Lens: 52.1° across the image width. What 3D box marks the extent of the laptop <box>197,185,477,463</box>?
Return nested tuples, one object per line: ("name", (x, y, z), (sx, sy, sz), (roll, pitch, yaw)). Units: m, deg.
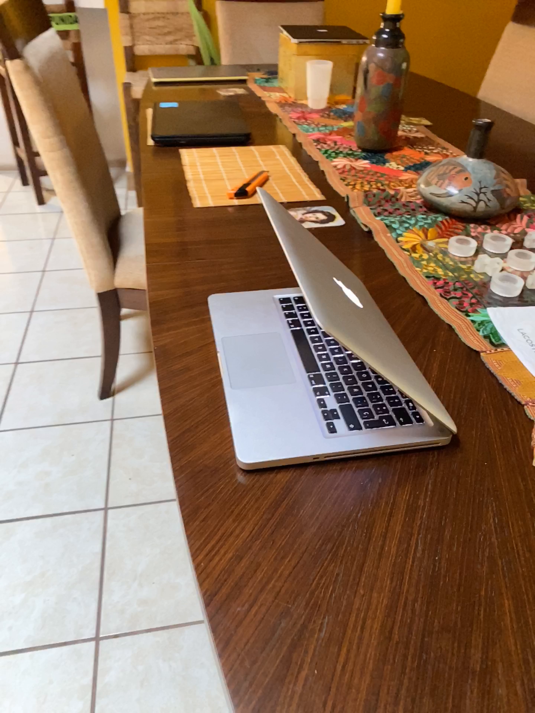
("laptop", (0.046, -0.063, 0.638), (0.213, 0.152, 0.323), (-6, 38, -10))
